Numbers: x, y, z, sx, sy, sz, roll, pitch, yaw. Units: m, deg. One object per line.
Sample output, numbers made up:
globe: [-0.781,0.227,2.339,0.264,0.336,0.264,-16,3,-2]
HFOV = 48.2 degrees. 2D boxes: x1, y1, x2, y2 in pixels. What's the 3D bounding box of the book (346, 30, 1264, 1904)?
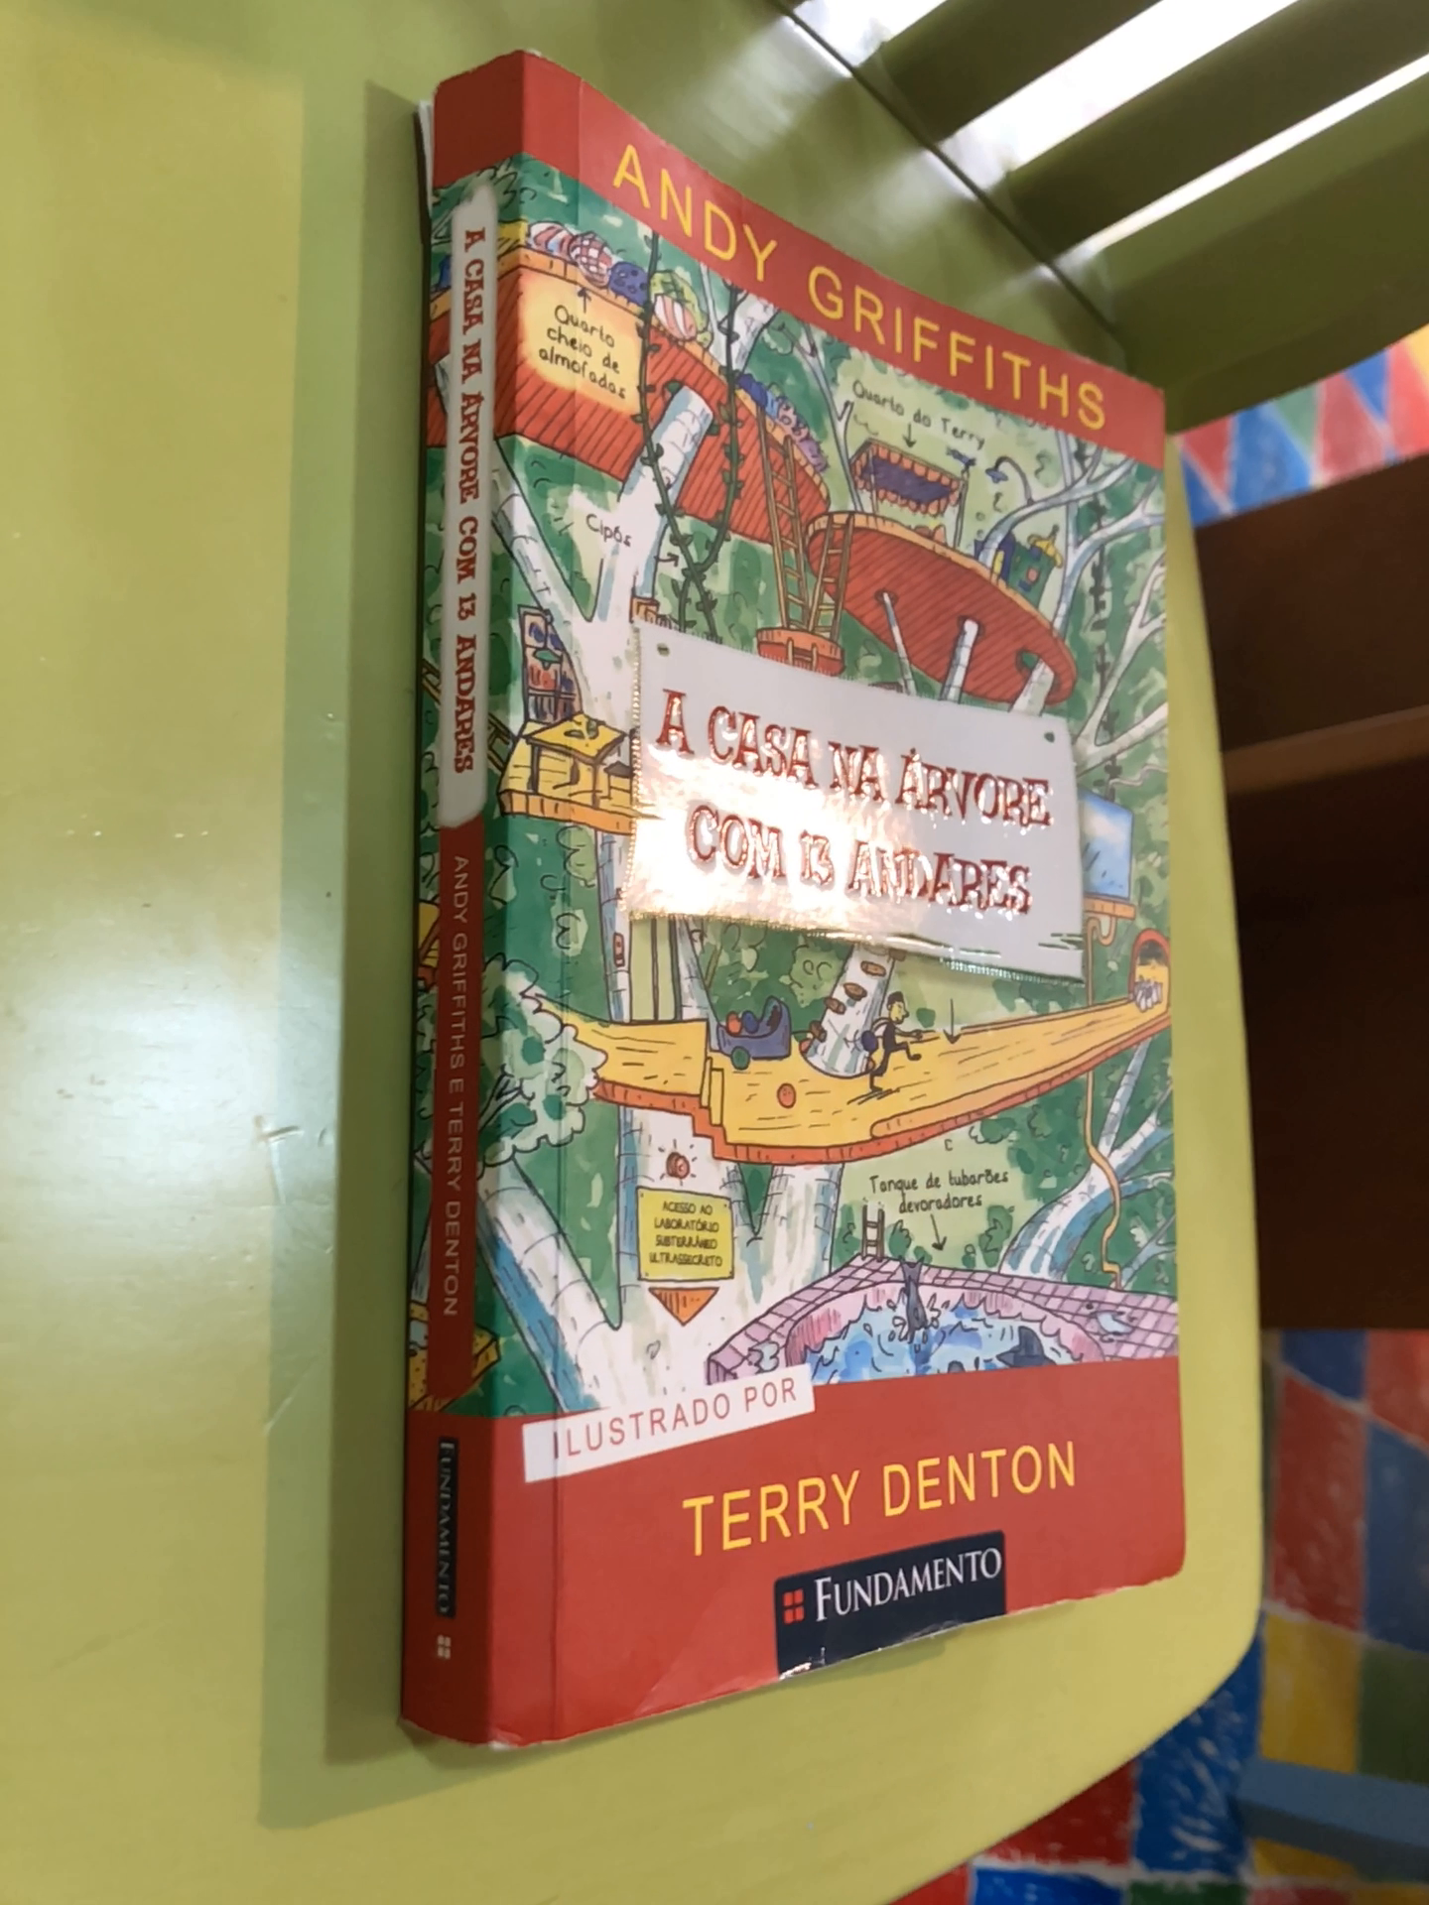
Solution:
book: [0.021,0.002,0.236,0.138,0.040,0.210,8,77,-41]
